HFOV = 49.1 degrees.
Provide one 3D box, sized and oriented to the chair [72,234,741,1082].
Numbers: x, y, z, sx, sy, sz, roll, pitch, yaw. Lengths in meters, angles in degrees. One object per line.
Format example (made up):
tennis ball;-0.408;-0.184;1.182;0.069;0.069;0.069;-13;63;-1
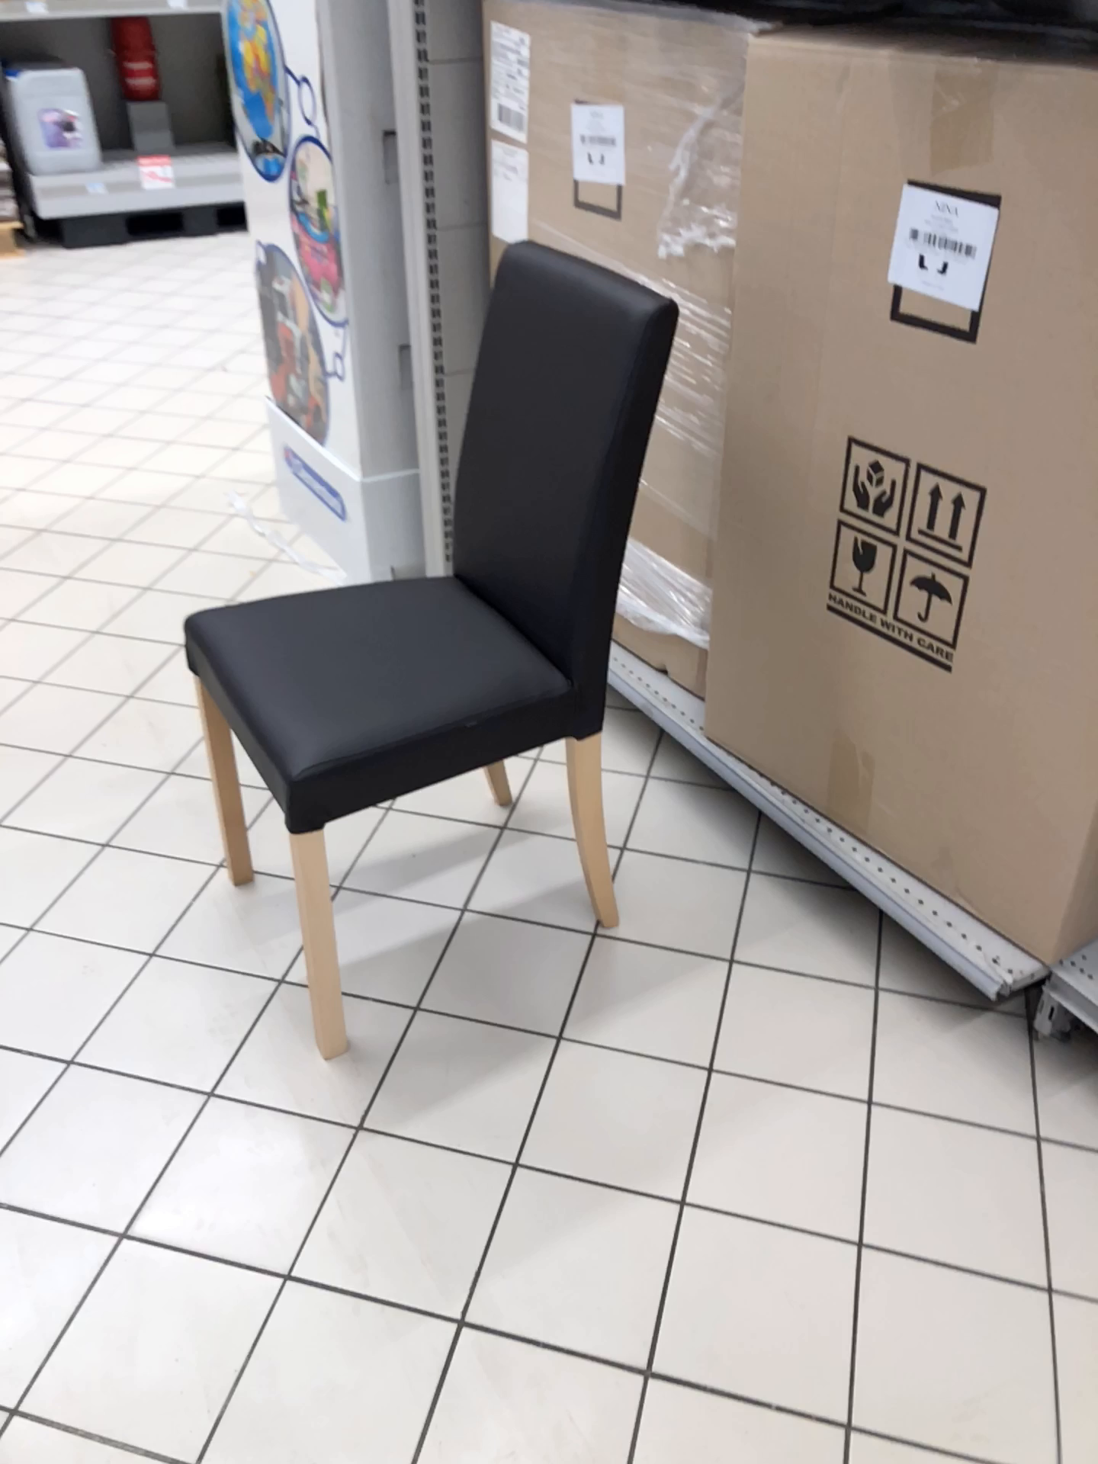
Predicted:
chair;-0.164;-0.114;1.550;0.592;0.855;0.451;-19;38;-26
